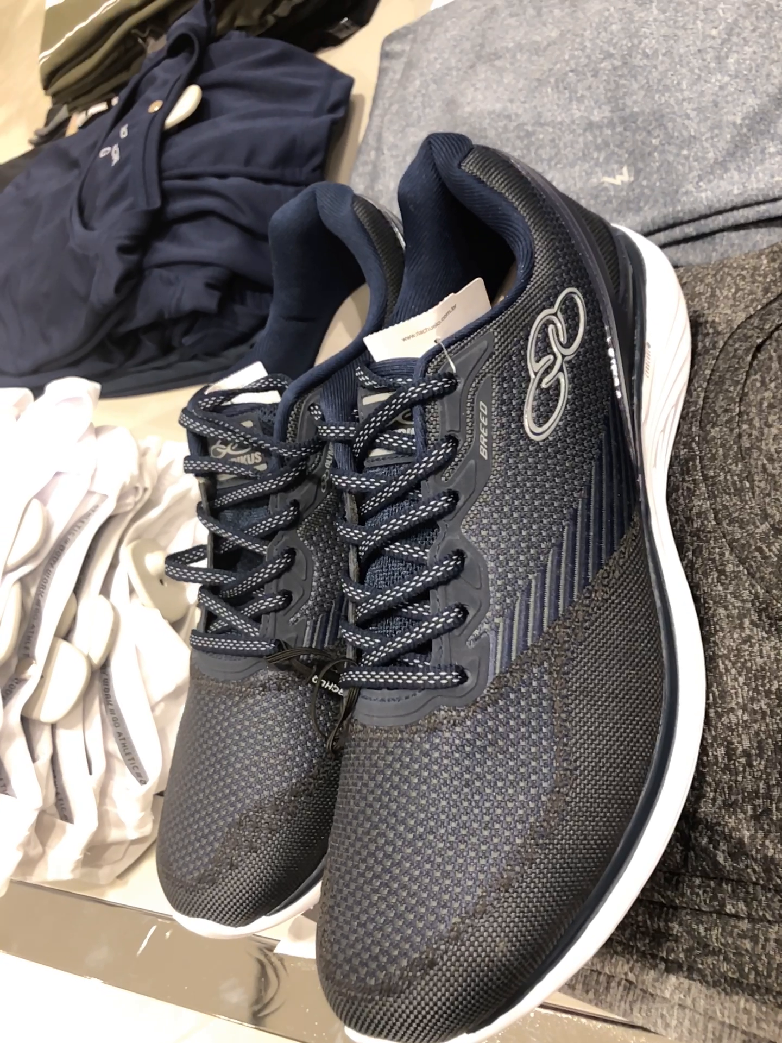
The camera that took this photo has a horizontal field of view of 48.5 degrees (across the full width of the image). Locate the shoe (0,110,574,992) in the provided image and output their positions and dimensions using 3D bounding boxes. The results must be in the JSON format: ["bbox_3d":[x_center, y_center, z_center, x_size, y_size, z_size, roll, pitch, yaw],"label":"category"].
[{"bbox_3d":[-0.026,0.011,0.356,0.120,0.129,0.290,-1,69,36],"label":"shoe"}]

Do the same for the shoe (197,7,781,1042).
[{"bbox_3d":[0.049,0.014,0.290,0.120,0.129,0.290,-16,60,48],"label":"shoe"}]
